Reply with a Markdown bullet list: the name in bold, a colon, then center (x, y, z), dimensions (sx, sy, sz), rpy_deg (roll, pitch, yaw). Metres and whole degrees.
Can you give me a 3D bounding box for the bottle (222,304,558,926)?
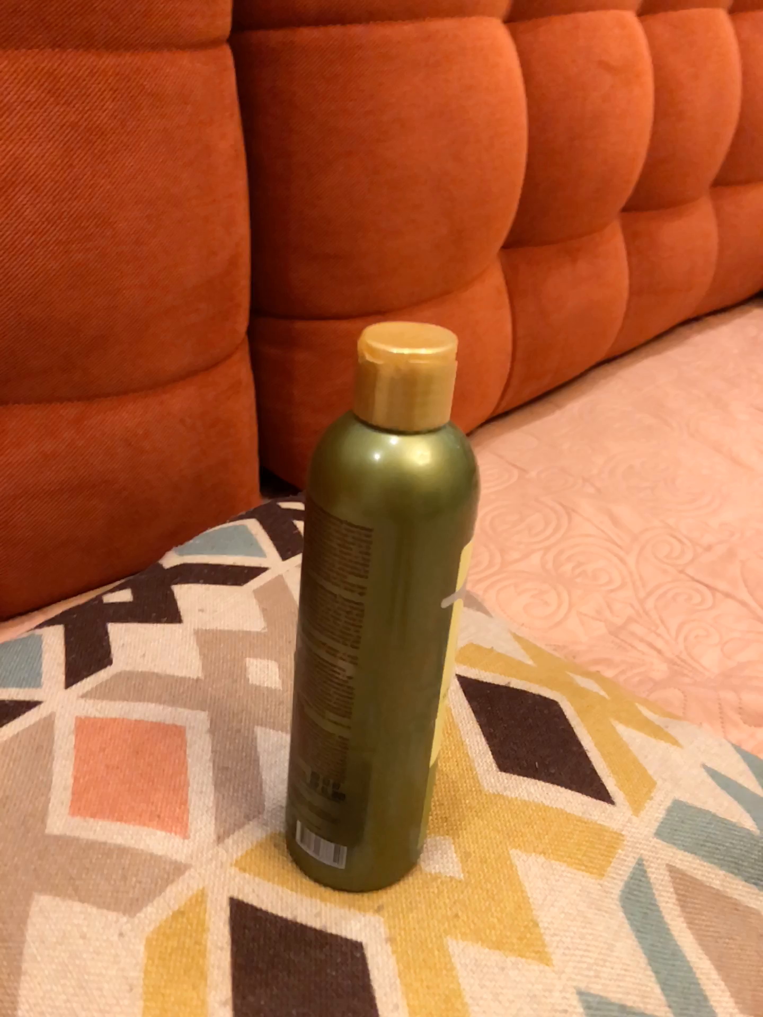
- **bottle**: center (-0.006, 0.035, 0.259), dimensions (0.070, 0.179, 0.060), rpy_deg (-7, 31, -20)
